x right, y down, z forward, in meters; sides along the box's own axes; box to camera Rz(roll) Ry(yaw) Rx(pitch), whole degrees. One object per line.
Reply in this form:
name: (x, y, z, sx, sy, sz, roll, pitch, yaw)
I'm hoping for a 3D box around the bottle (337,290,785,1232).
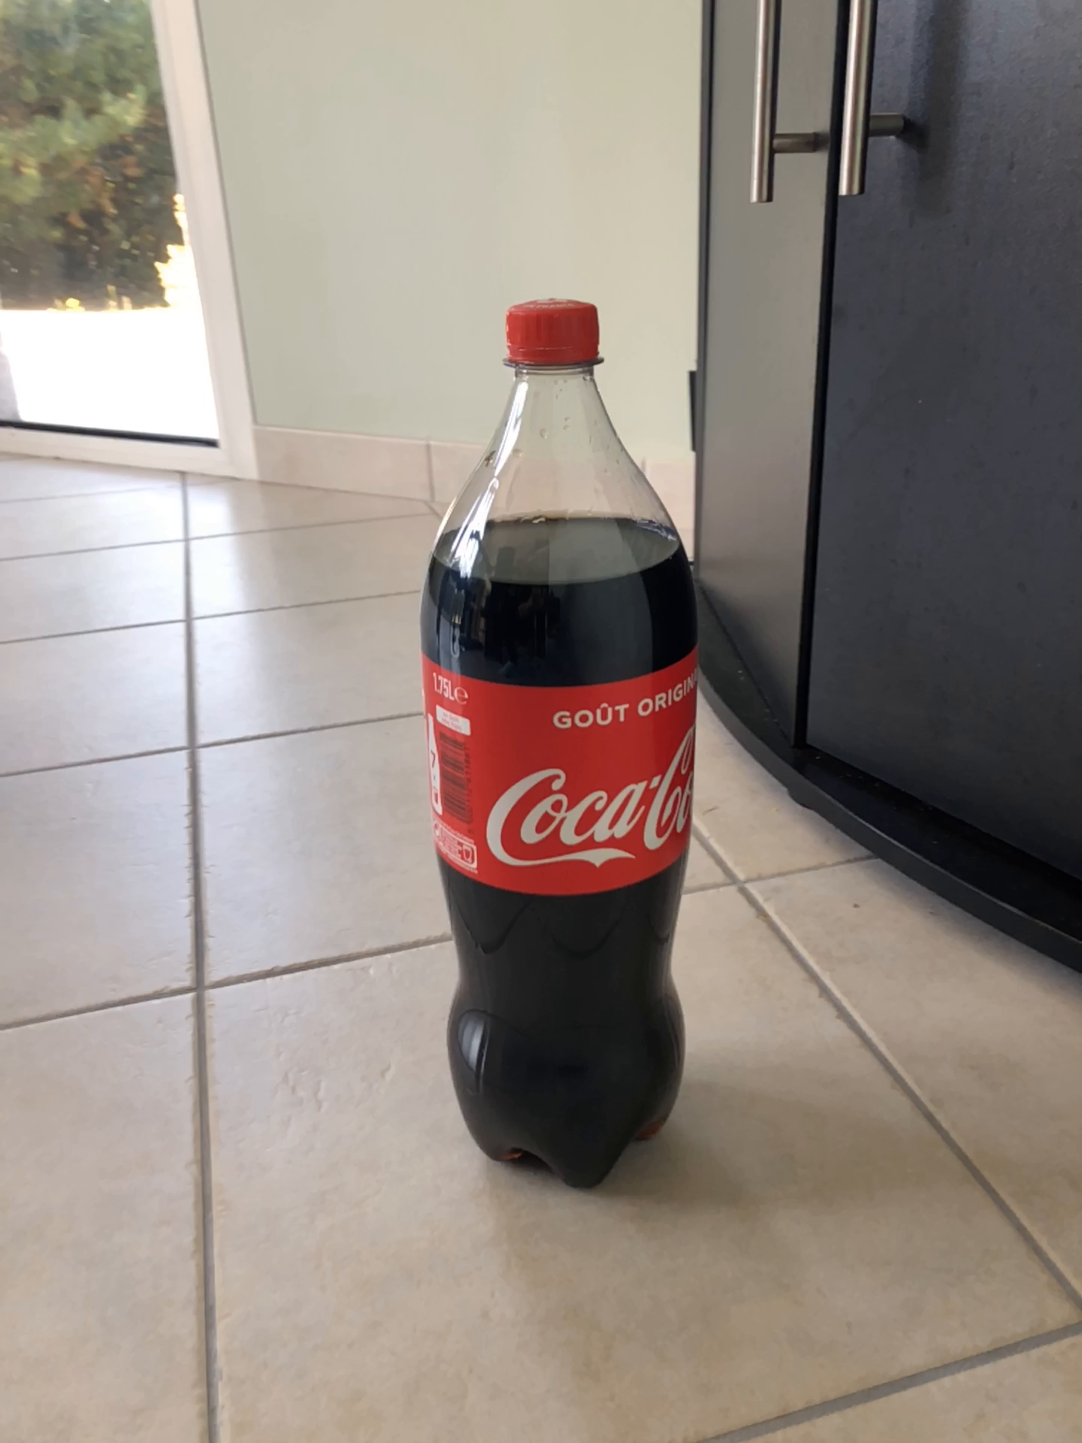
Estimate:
bottle: (0.006, 0.016, 0.426, 0.110, 0.308, 0.100, -2, 24, 1)
